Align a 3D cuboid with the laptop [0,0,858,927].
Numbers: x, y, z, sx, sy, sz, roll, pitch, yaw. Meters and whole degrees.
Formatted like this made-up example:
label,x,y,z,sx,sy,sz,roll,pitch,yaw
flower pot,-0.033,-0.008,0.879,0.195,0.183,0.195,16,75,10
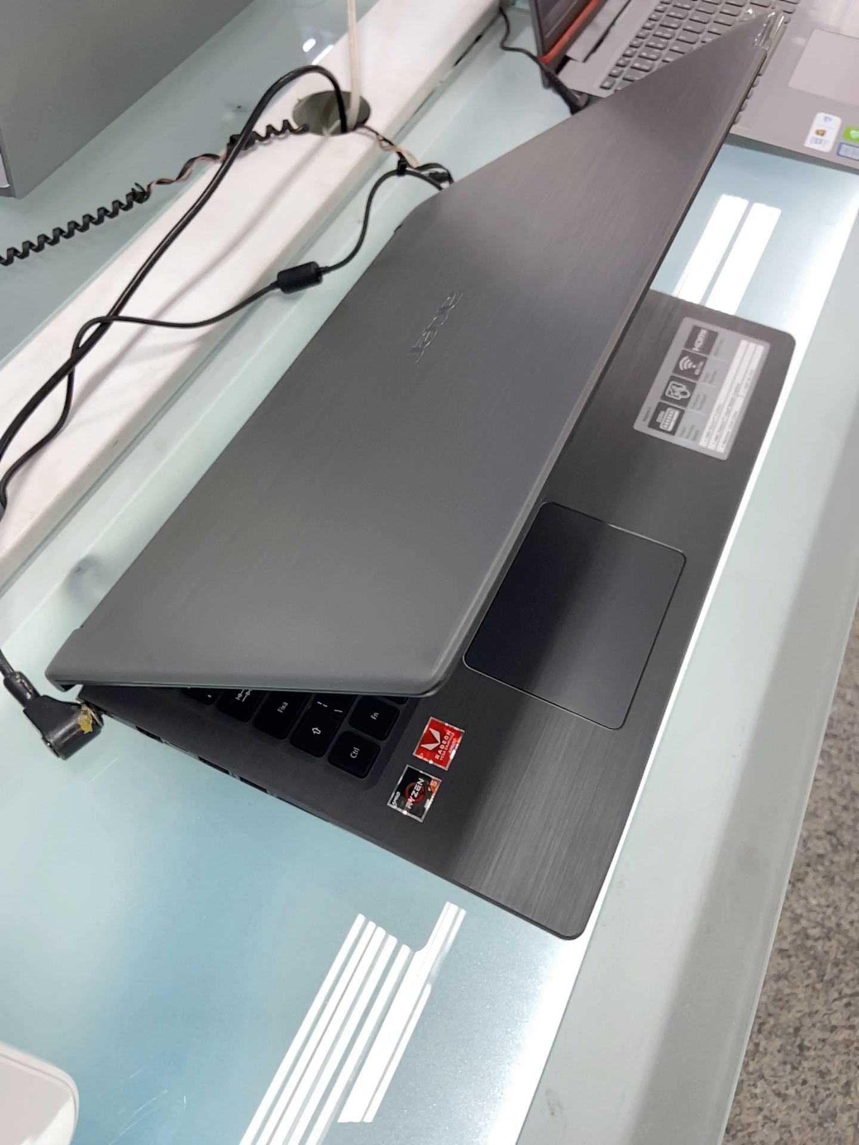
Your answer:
label,x,y,z,sx,sy,sz,roll,pitch,yaw
laptop,0.041,-0.079,0.378,0.220,0.155,0.344,22,59,13
